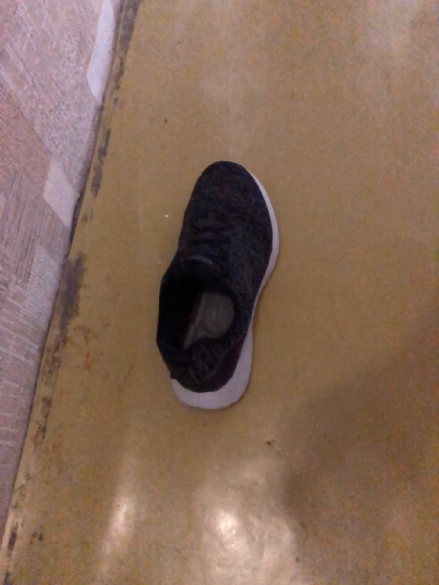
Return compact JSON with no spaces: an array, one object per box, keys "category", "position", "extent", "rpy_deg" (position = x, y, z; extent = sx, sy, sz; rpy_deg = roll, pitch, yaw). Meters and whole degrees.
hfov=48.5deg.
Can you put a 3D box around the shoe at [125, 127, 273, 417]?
[{"category":"shoe","position":[-0.009,-0.026,0.588],"extent":[0.120,0.130,0.320],"rpy_deg":[3,69,9]}]
